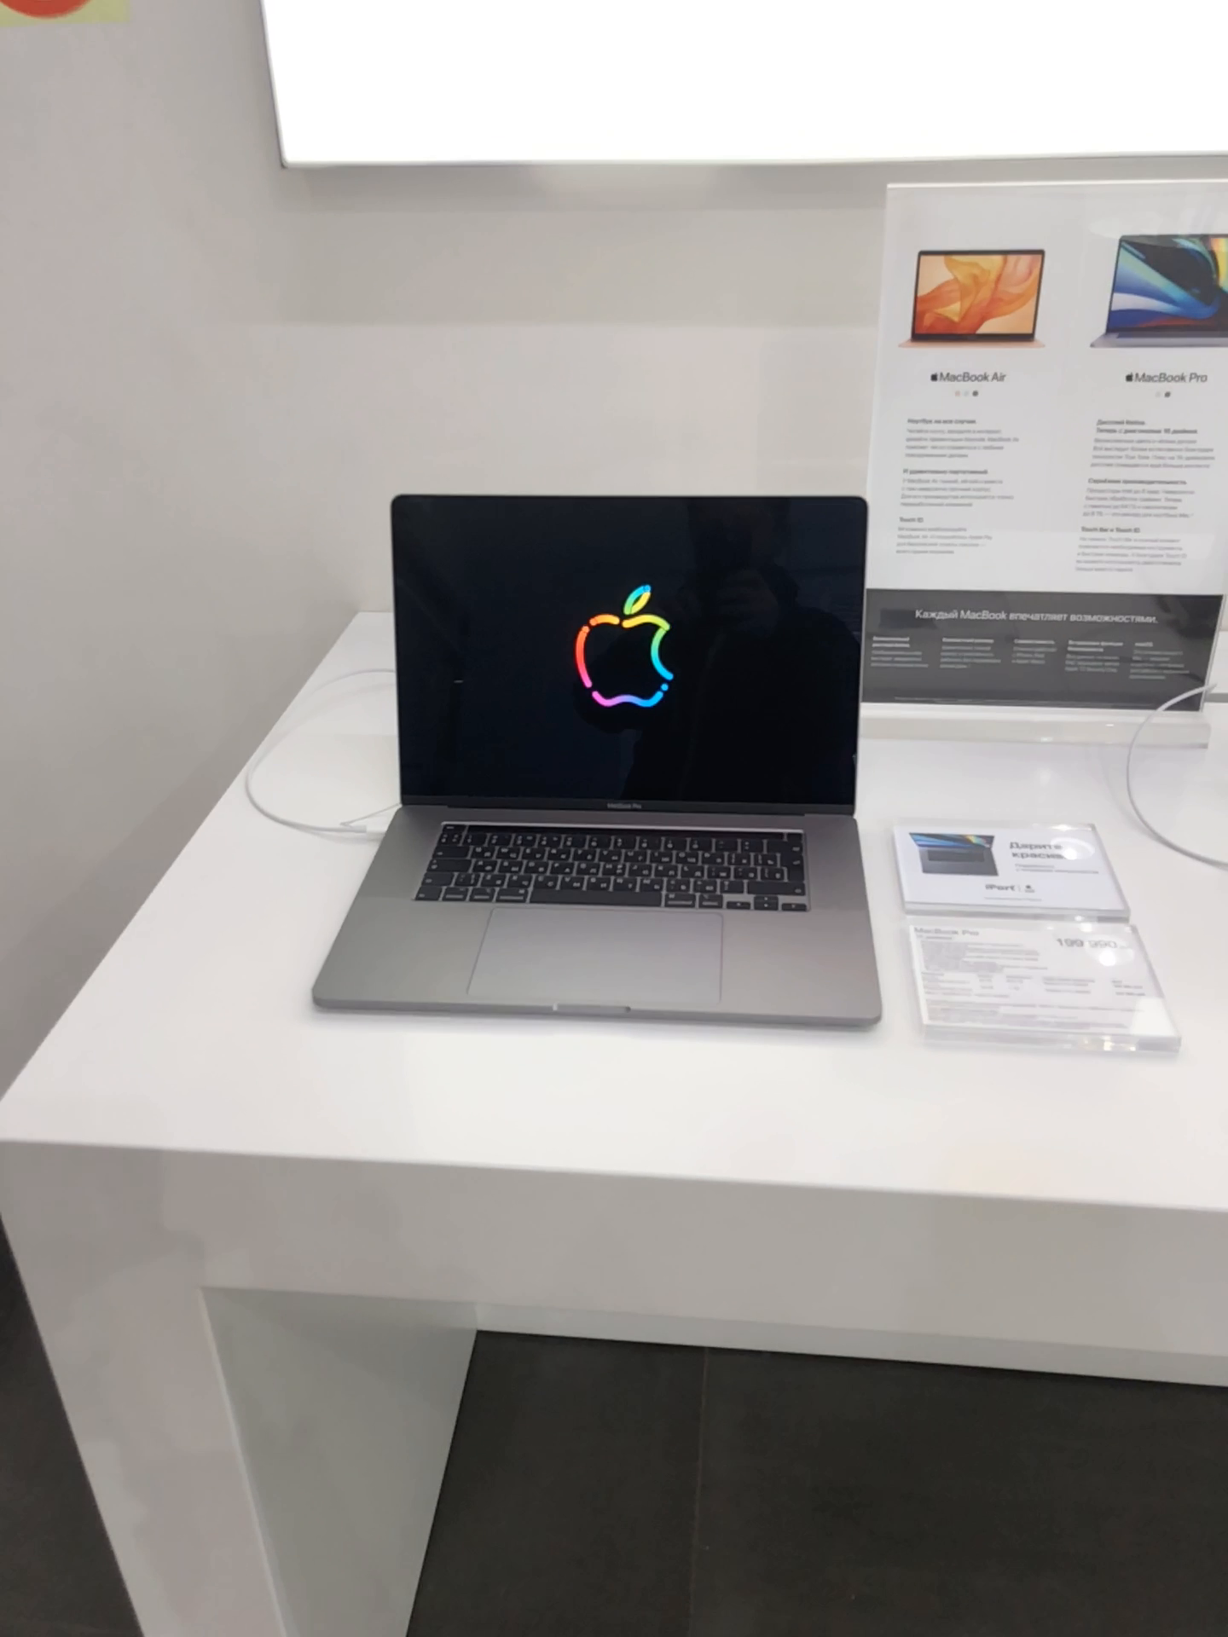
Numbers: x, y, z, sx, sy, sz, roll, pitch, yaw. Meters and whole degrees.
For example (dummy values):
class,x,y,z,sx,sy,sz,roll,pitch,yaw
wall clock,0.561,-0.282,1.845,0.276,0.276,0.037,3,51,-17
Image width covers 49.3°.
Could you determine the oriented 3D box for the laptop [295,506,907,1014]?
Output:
class,x,y,z,sx,sy,sz,roll,pitch,yaw
laptop,0.004,-0.057,0.897,0.328,0.209,0.311,1,30,5
